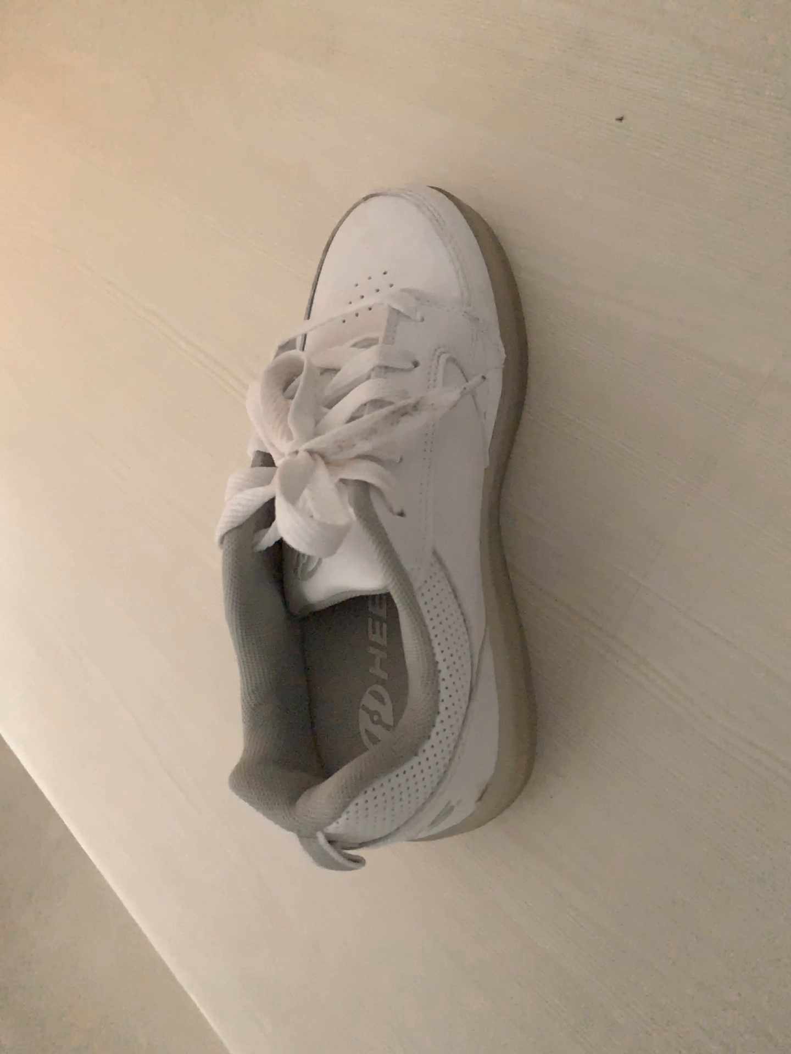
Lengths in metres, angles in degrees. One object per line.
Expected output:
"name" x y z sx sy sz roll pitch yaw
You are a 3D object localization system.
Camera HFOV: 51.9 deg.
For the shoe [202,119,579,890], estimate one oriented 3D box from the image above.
"shoe" -0.002 -0.004 0.294 0.090 0.090 0.230 -10 74 31
